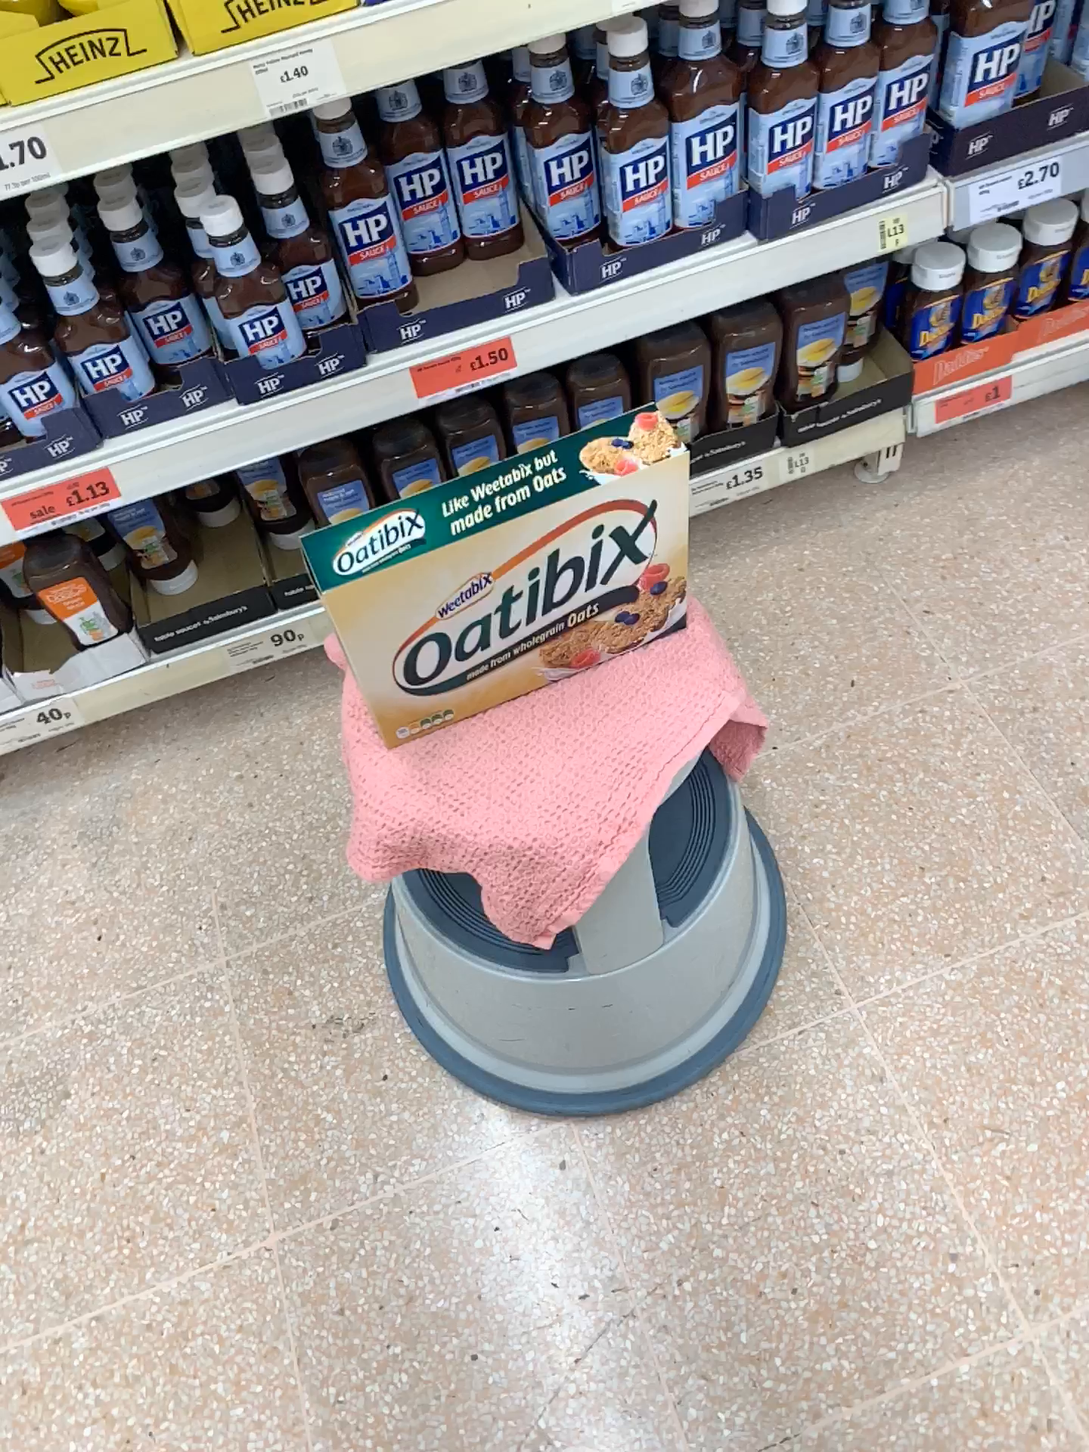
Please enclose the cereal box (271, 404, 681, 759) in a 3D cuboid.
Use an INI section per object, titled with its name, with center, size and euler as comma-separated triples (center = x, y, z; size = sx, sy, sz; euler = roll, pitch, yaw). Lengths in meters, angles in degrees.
[cereal box]
center = -0.035, -0.098, 0.813
size = 0.270, 0.189, 0.060
euler = -23, 58, -7
